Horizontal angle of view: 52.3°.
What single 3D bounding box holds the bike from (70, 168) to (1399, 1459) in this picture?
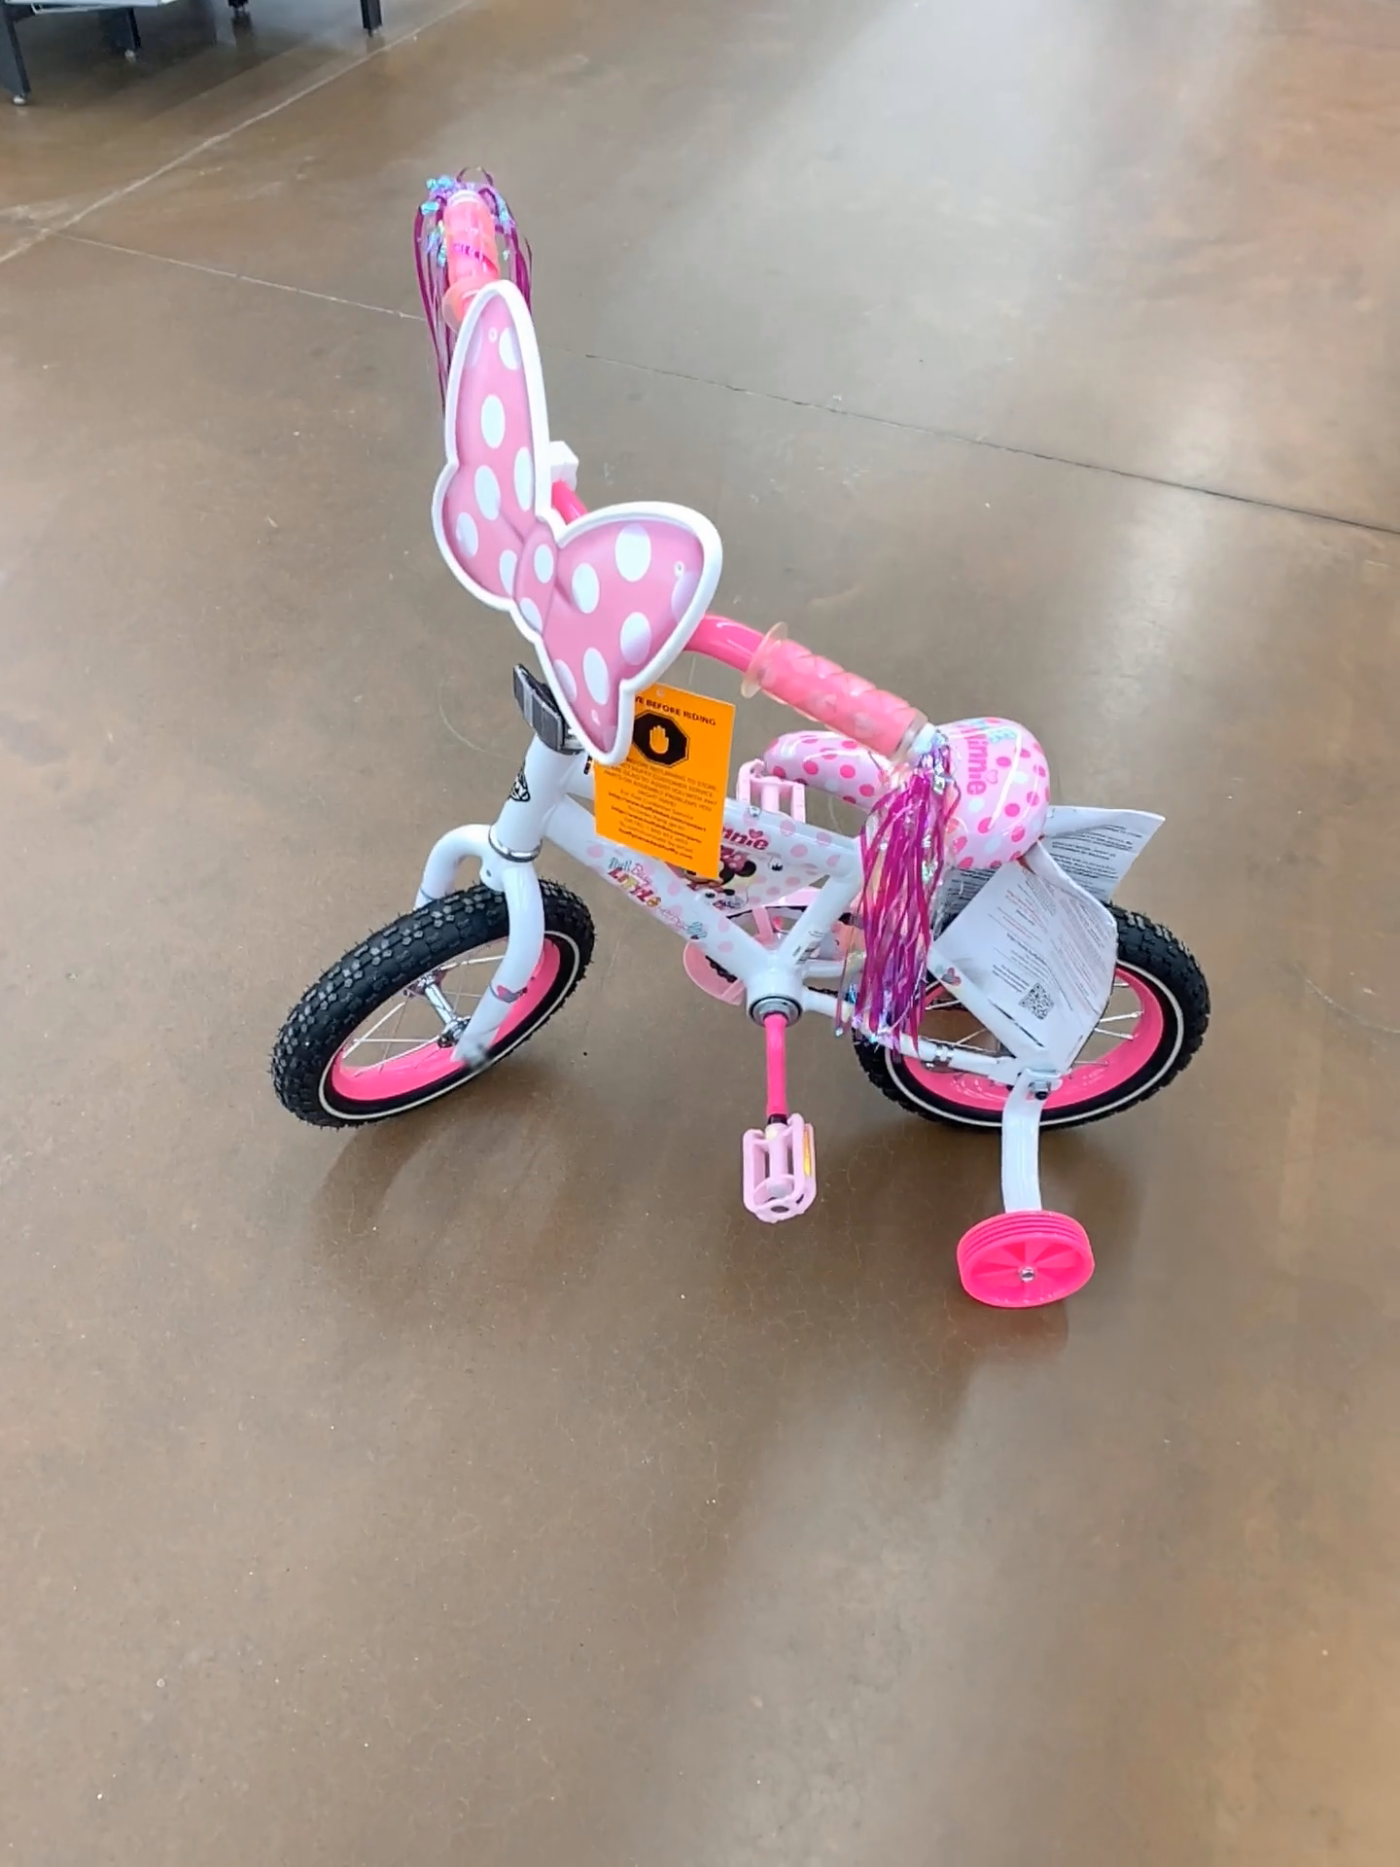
[{"bbox_3d":[0.066,-0.042,1.009,0.759,0.749,0.445,-6,47,-11],"label":"bike"}]
